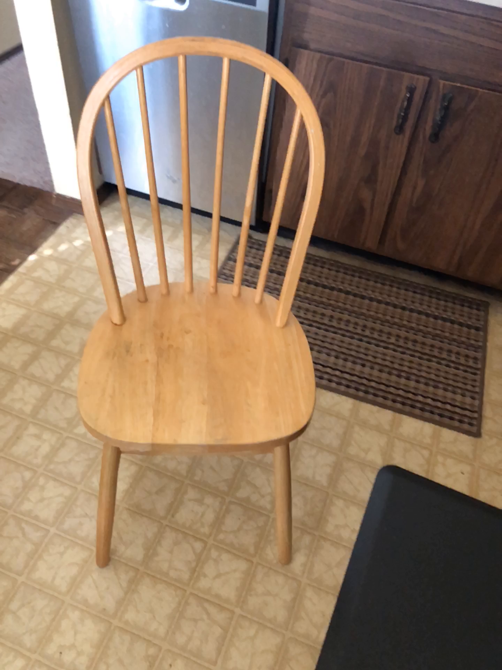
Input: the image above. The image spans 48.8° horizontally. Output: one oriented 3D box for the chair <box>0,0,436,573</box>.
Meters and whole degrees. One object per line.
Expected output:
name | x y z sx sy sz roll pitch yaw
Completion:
chair | -0.097 -0.014 1.030 0.460 0.899 0.561 1 47 -5
